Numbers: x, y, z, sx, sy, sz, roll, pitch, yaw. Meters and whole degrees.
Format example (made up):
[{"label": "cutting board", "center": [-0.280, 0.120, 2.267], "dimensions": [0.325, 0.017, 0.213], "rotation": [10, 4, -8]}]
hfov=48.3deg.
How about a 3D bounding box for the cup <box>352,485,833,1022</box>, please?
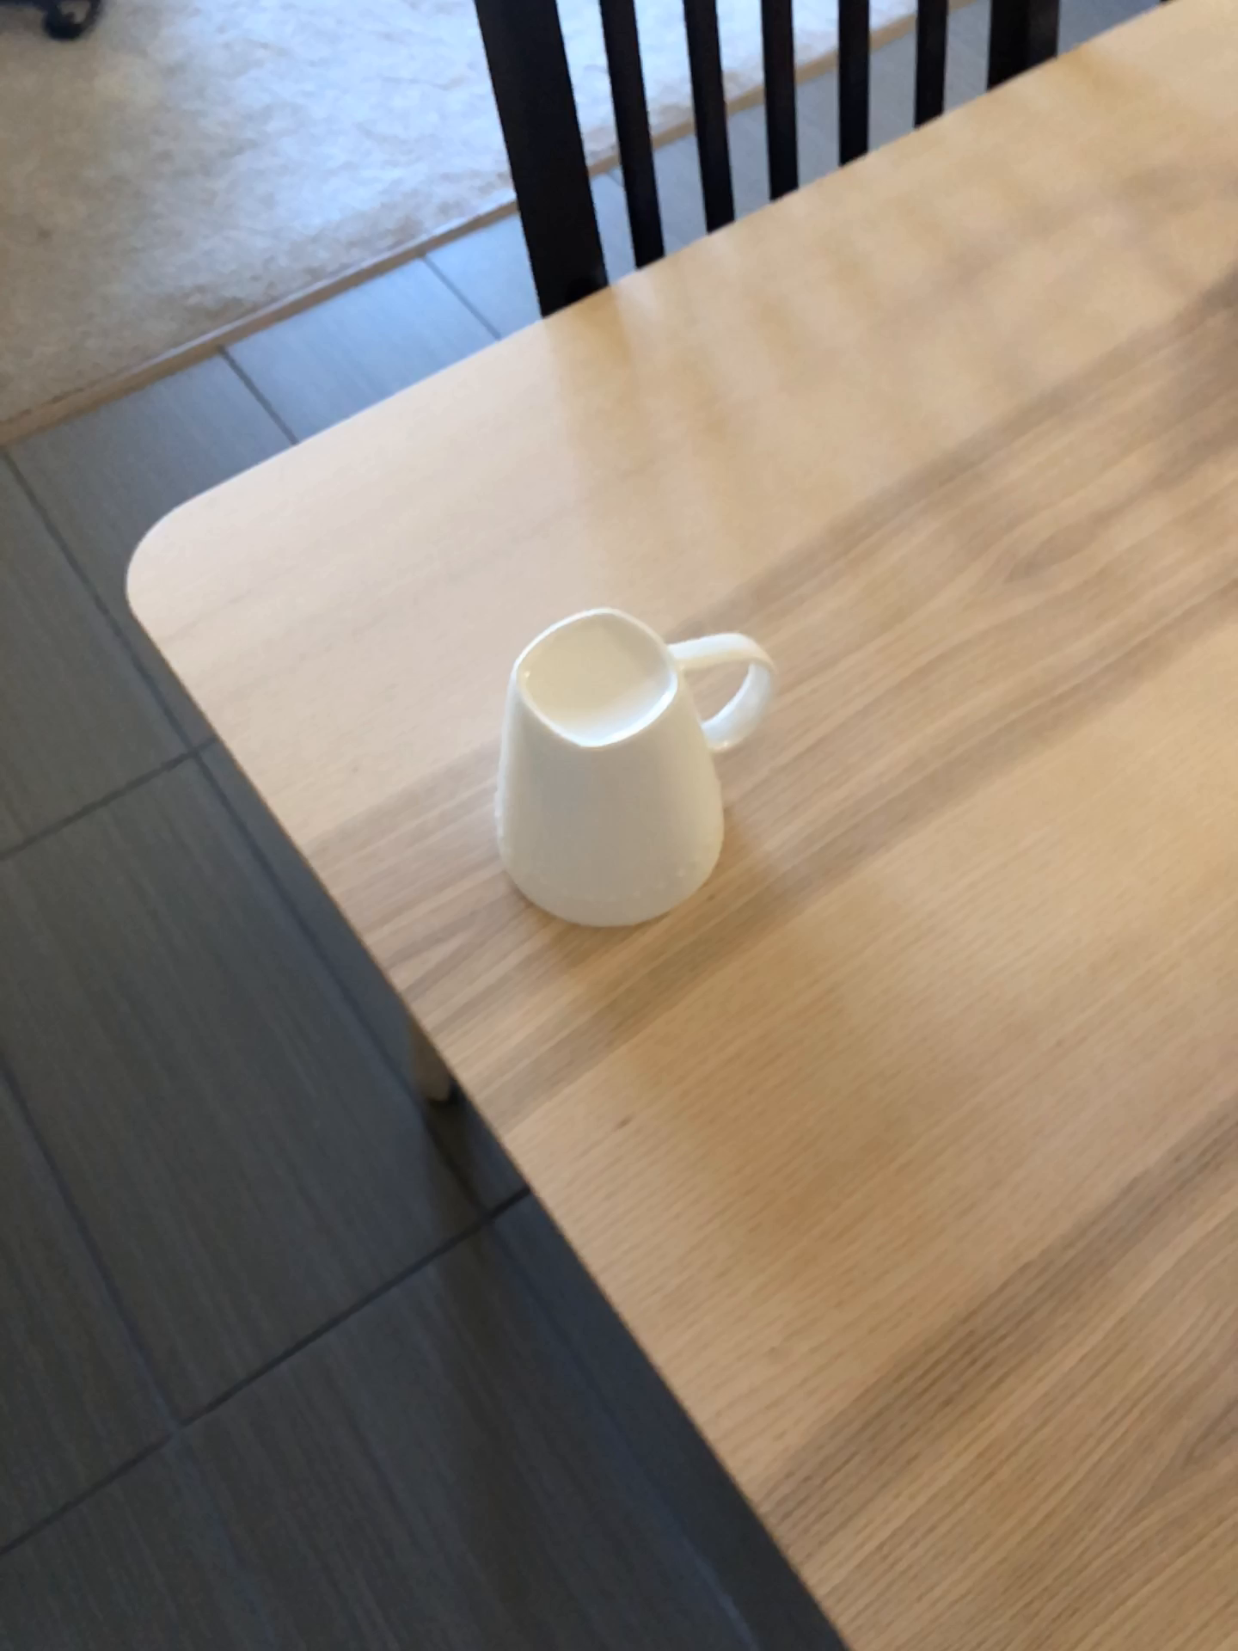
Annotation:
[{"label": "cup", "center": [-0.005, -0.027, 0.537], "dimensions": [0.100, 0.120, 0.140], "rotation": [40, 69, 23]}]
